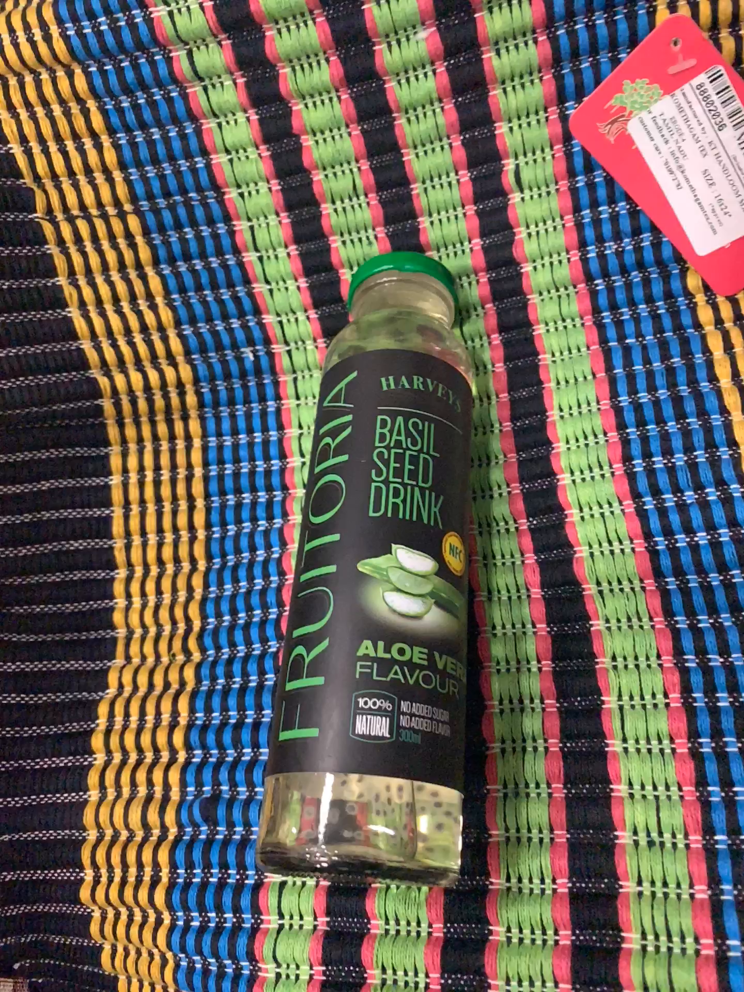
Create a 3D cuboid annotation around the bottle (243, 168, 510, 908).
[{"bbox_3d":[0.004,0.005,0.231,0.050,0.060,0.200,10,66,-11],"label":"bottle"}]
